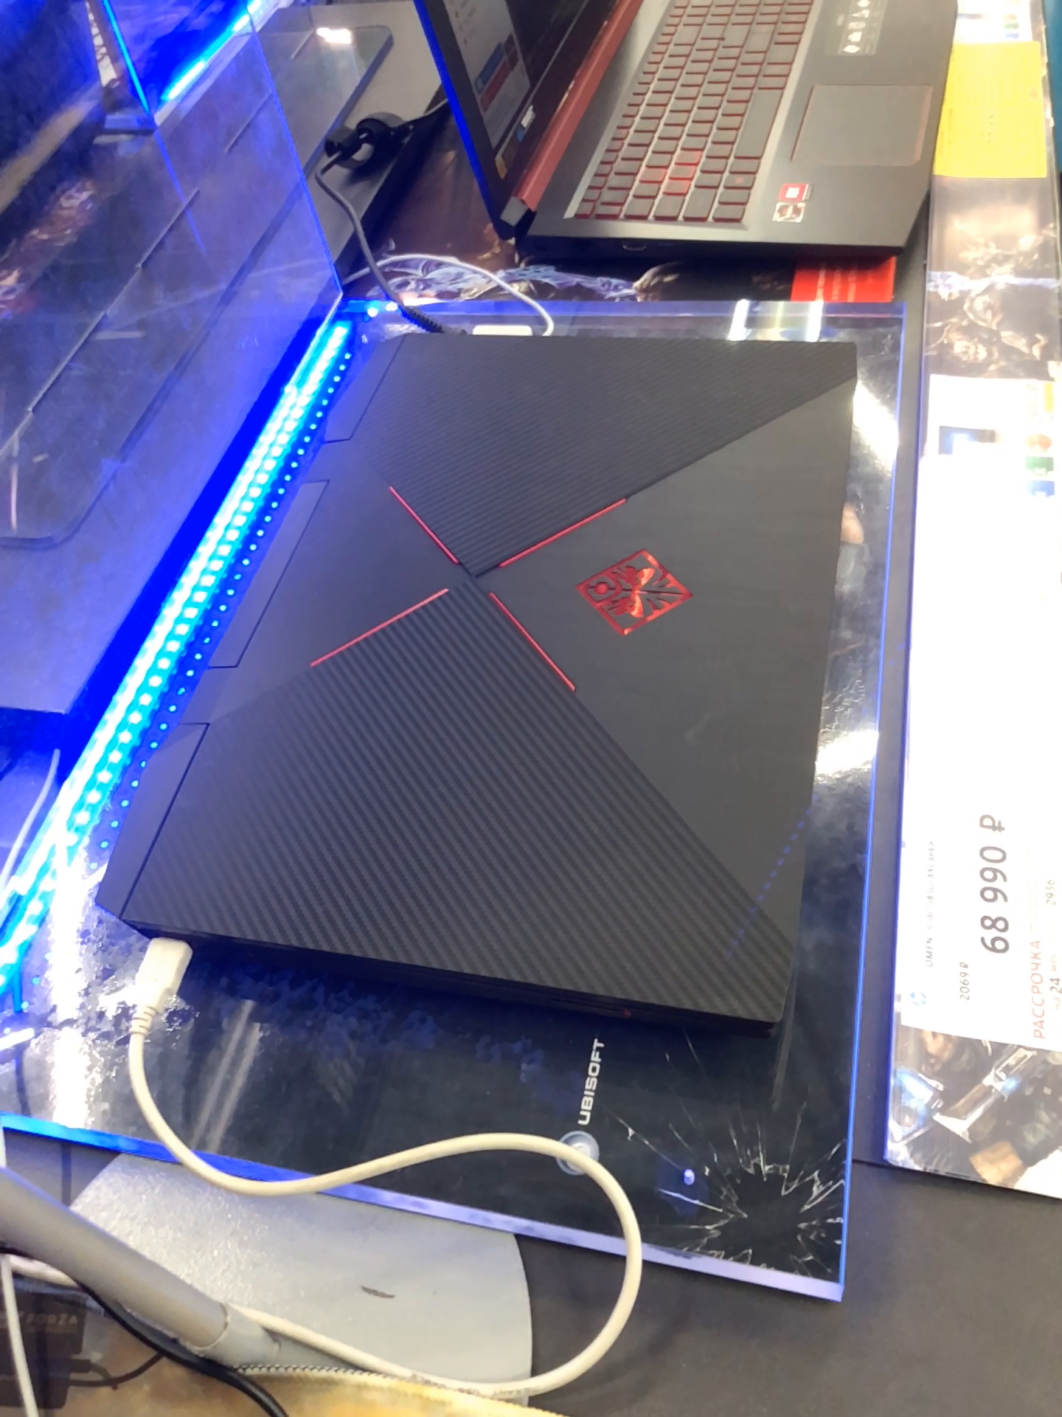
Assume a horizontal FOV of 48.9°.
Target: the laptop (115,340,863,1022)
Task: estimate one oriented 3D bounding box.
[{"bbox_3d":[0.005,-0.049,0.500,0.237,0.003,0.351,6,54,15],"label":"laptop"}]
